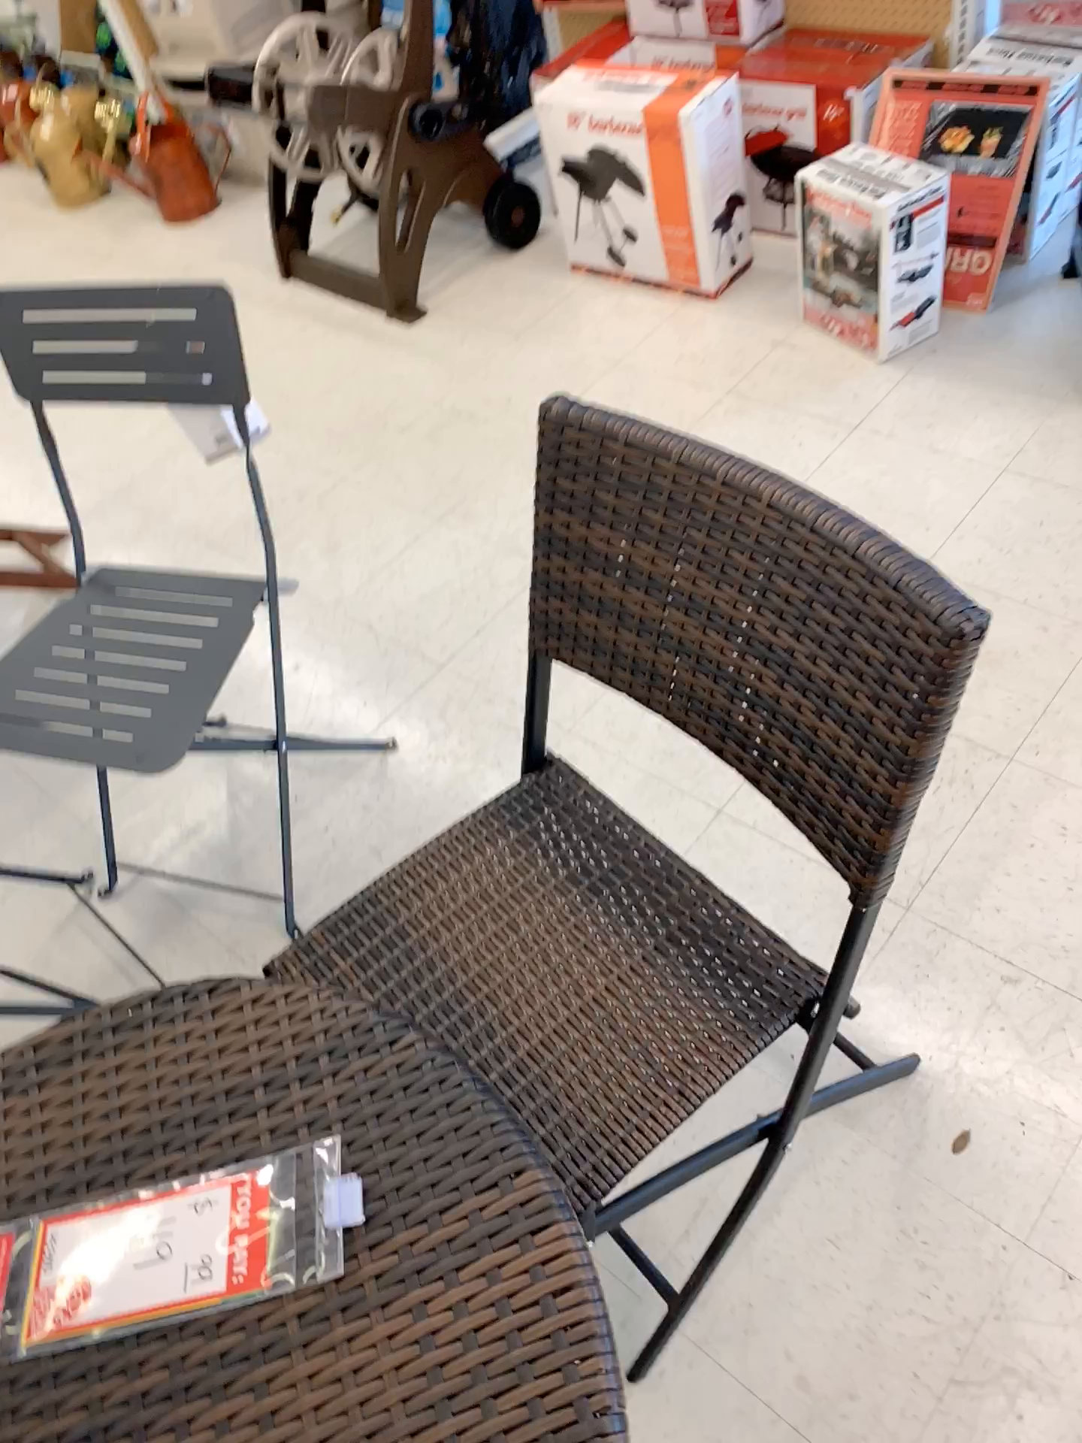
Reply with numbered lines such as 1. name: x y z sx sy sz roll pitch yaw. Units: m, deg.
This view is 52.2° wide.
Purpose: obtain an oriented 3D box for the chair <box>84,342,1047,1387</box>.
1. chair: 0.063 0.168 1.072 0.510 0.767 0.482 -37 51 -17
